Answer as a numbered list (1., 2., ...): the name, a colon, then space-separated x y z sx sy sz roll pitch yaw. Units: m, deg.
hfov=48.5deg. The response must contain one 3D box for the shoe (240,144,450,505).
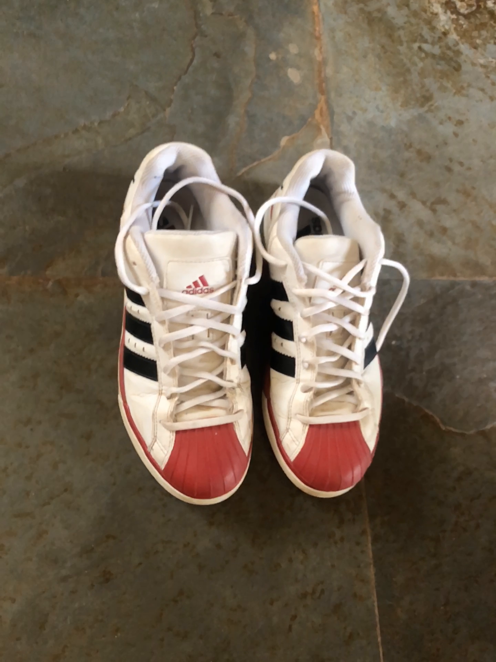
1. shoe: 0.068 -0.004 0.464 0.110 0.110 0.270 -2 77 -12

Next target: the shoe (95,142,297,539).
1. shoe: -0.052 0.007 0.440 0.110 0.130 0.270 -5 77 -13
